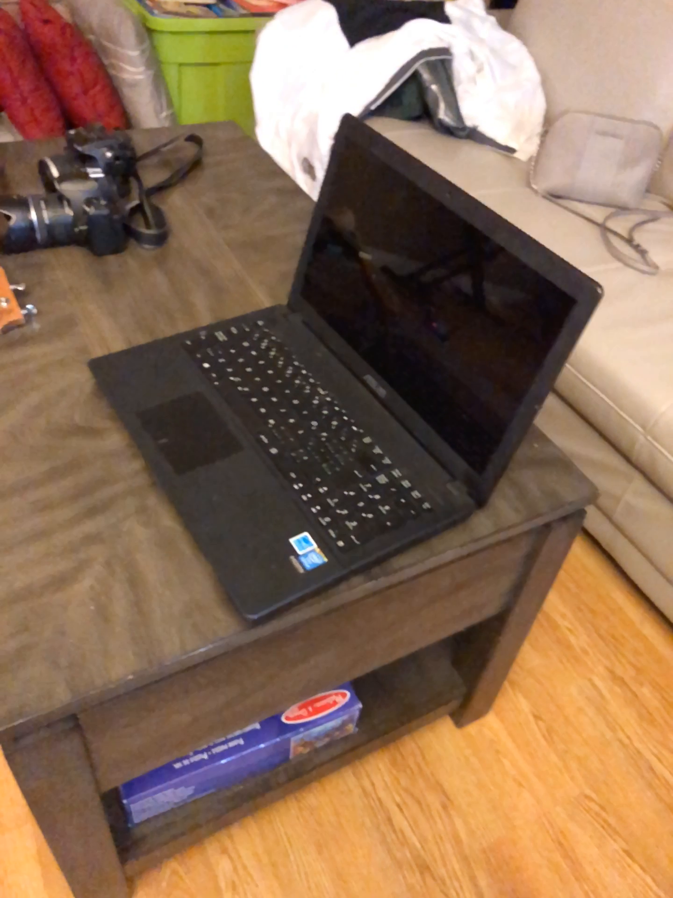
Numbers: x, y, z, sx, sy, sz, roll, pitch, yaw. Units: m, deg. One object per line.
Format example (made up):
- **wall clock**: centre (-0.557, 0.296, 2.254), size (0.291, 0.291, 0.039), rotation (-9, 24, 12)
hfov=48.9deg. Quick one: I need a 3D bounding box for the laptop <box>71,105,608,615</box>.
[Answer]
- **laptop**: centre (-0.020, -0.115, 0.697), size (0.316, 0.216, 0.357), rotation (-23, 52, -25)
